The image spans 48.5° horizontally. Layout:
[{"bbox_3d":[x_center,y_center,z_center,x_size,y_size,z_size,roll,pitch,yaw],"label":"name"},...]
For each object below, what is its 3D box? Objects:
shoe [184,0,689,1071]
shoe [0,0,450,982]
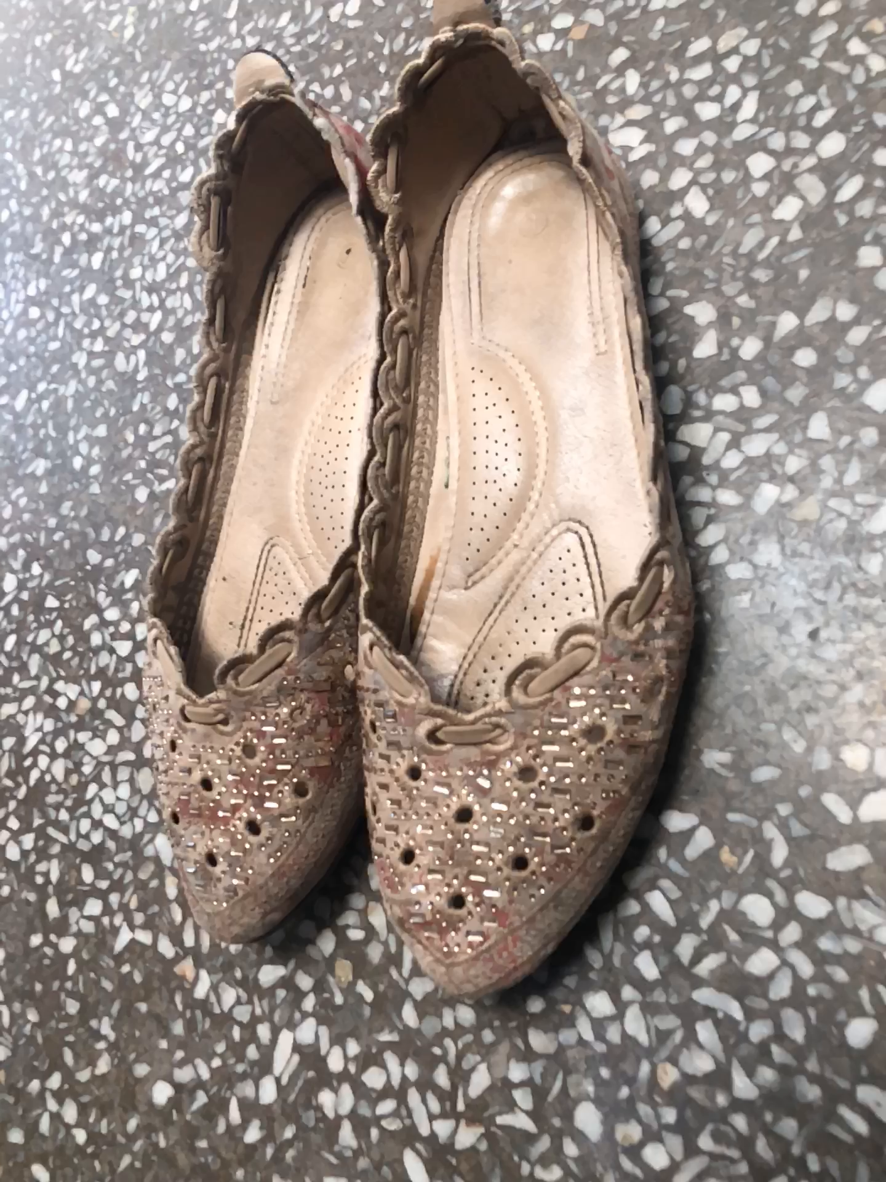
[{"bbox_3d":[0.006,-0.030,0.248,0.090,0.068,0.254,-5,74,28],"label":"shoe"},{"bbox_3d":[-0.065,-0.030,0.291,0.090,0.068,0.254,-2,75,29],"label":"shoe"}]
